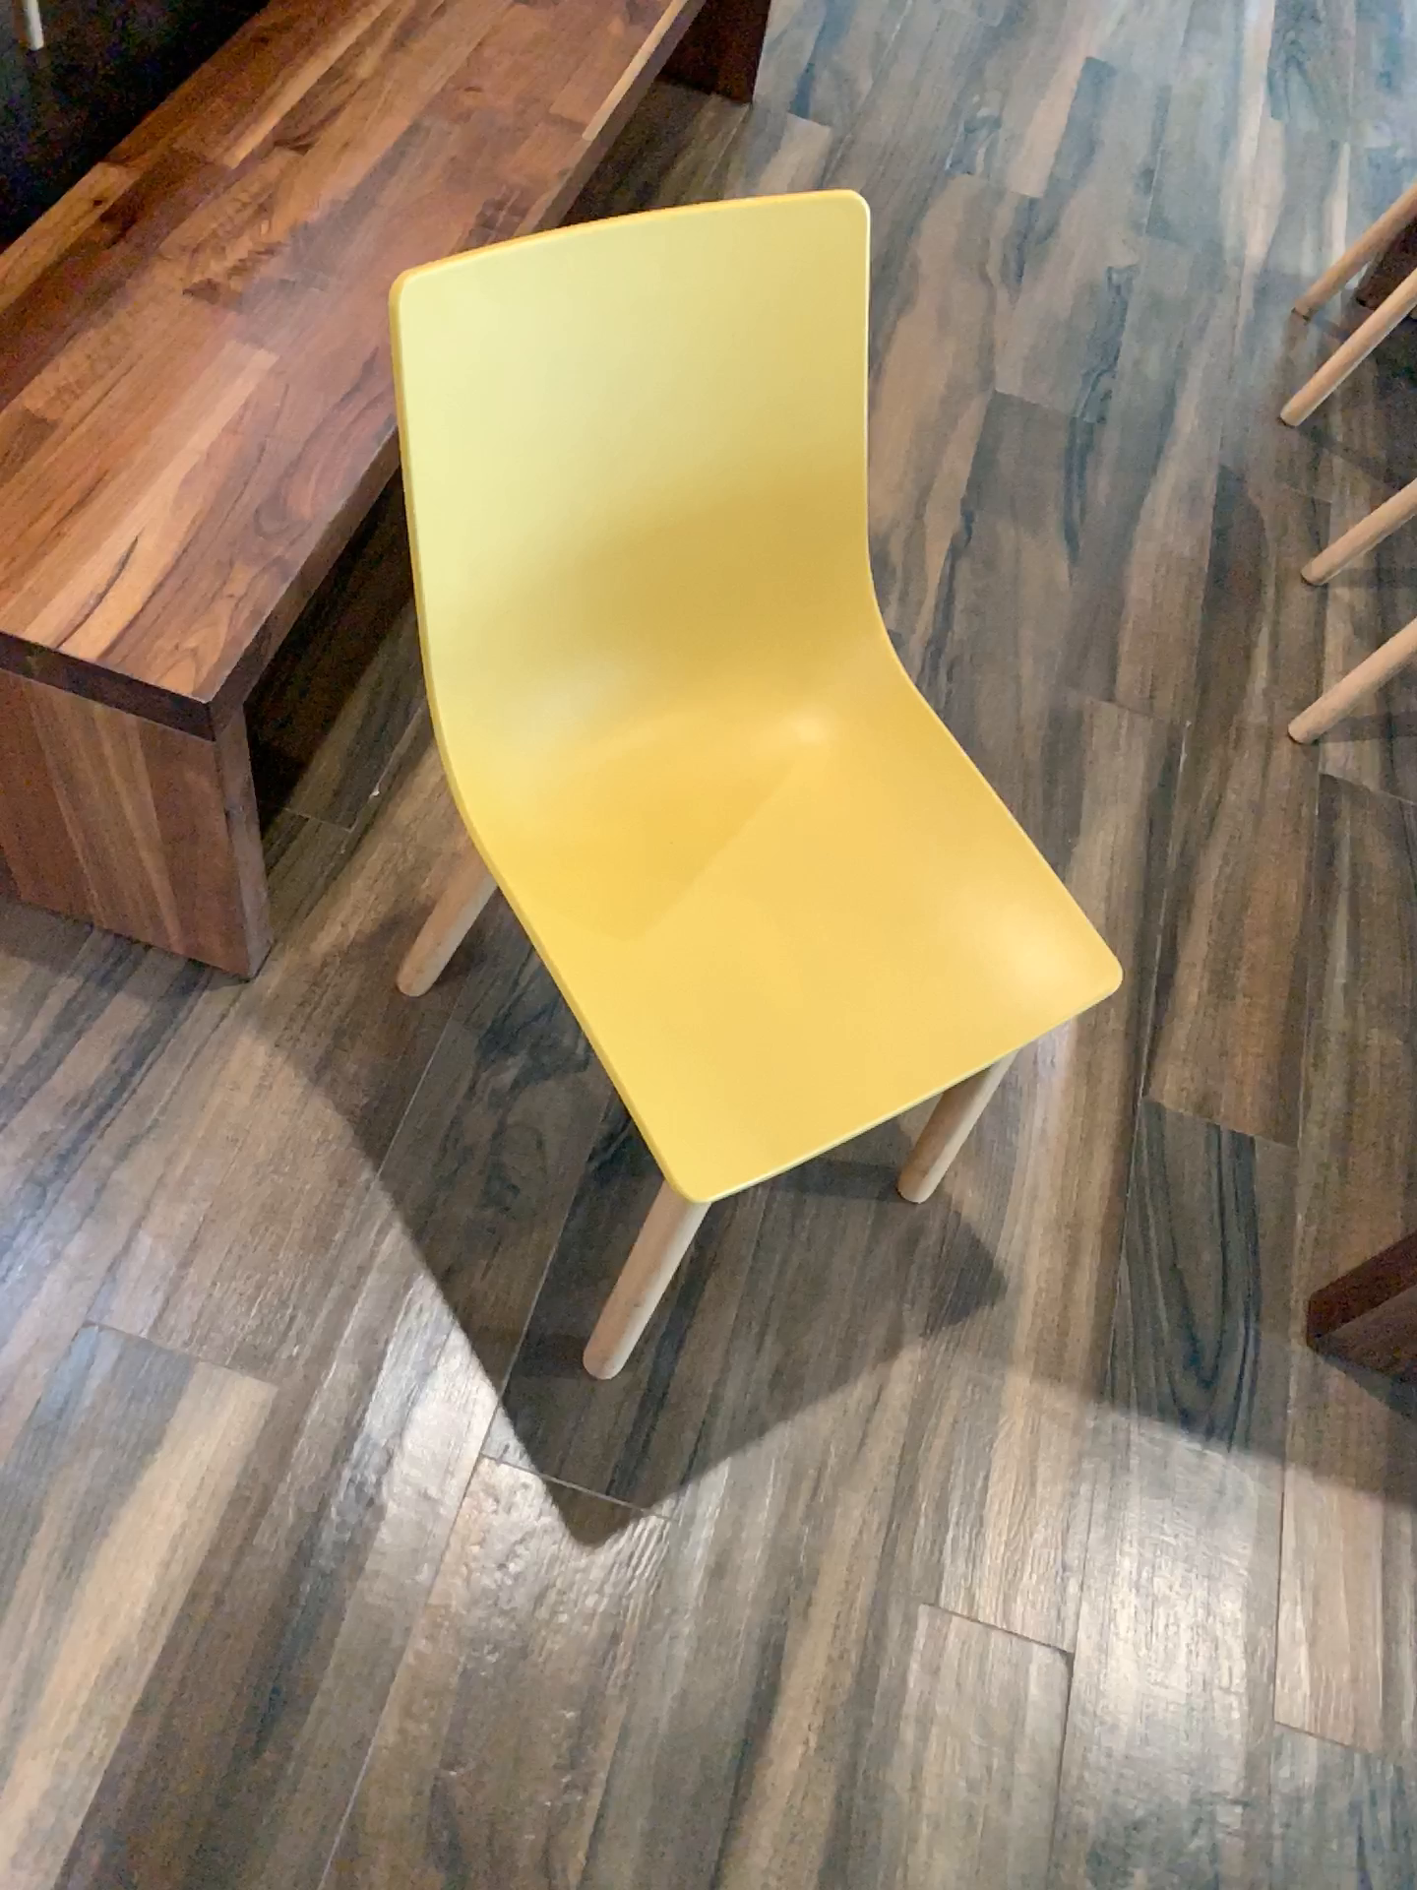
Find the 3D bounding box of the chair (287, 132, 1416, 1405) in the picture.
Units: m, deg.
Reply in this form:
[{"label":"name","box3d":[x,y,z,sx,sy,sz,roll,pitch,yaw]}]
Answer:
[{"label":"chair","box3d":[0.024,-0.085,1.080,0.451,0.716,0.502,-23,66,-24]}]
